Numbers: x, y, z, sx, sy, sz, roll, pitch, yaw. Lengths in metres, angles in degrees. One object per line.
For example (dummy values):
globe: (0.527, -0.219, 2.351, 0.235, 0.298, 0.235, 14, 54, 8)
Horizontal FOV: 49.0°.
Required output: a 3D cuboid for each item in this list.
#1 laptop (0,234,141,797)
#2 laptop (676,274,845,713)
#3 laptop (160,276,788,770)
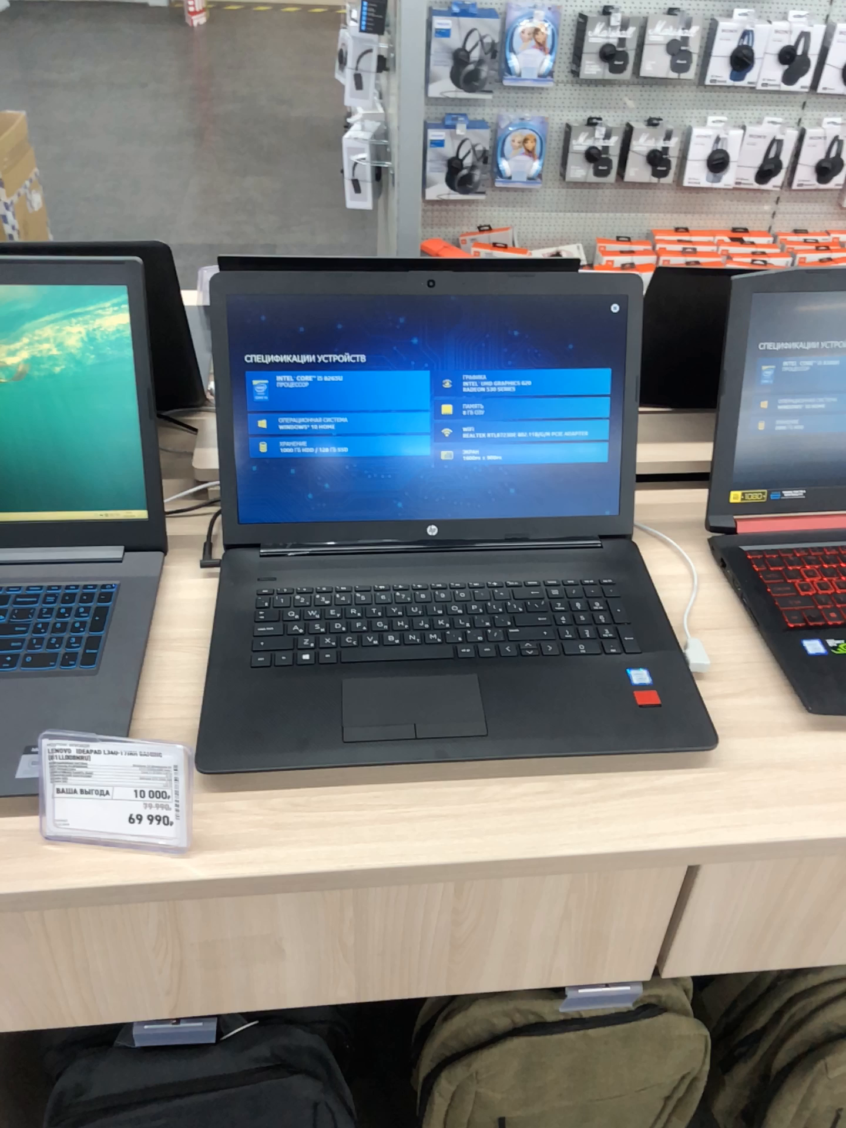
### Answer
laptop: (-0.433, -0.050, 0.704, 0.380, 0.226, 0.374, -1, 40, -10)
laptop: (0.505, -0.074, 0.814, 0.402, 0.224, 0.304, -4, 42, -7)
laptop: (0.018, -0.060, 0.775, 0.387, 0.213, 0.374, -2, 40, -6)
